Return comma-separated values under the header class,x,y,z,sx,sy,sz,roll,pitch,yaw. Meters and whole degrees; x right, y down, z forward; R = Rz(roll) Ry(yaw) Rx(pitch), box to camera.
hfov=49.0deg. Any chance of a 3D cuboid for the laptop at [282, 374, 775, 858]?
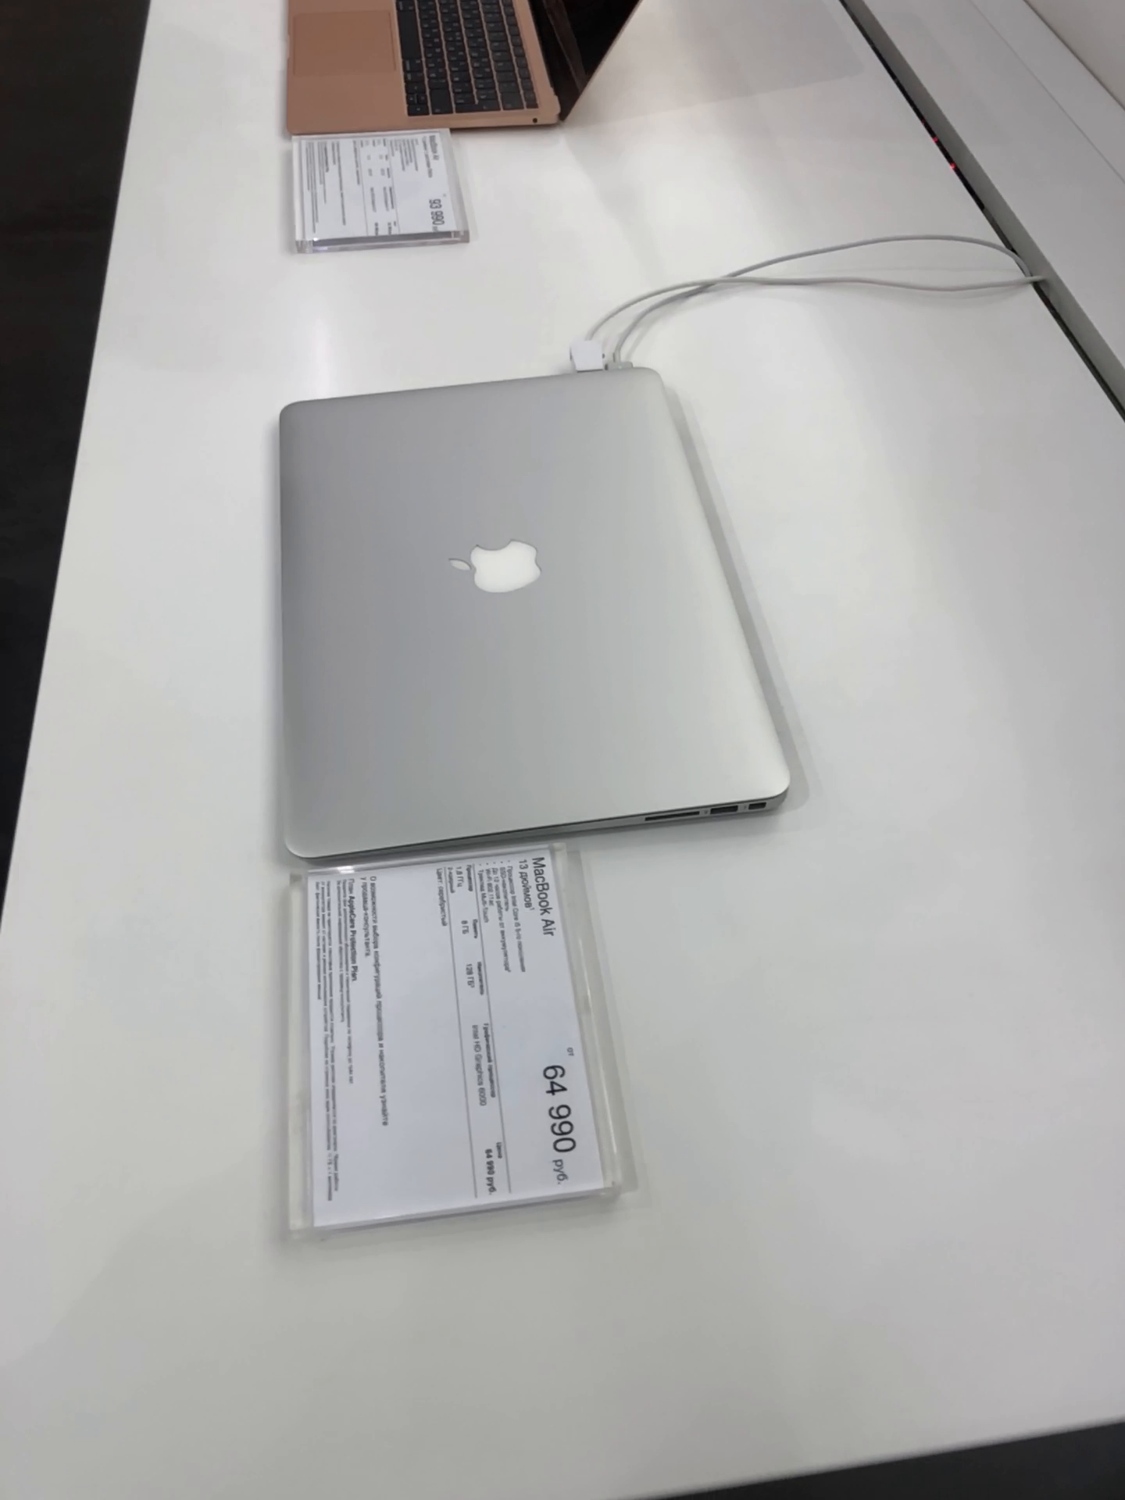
class,x,y,z,sx,sy,sz,roll,pitch,yaw
laptop,-0.033,-0.087,0.621,0.209,0.008,0.308,-6,51,-4
